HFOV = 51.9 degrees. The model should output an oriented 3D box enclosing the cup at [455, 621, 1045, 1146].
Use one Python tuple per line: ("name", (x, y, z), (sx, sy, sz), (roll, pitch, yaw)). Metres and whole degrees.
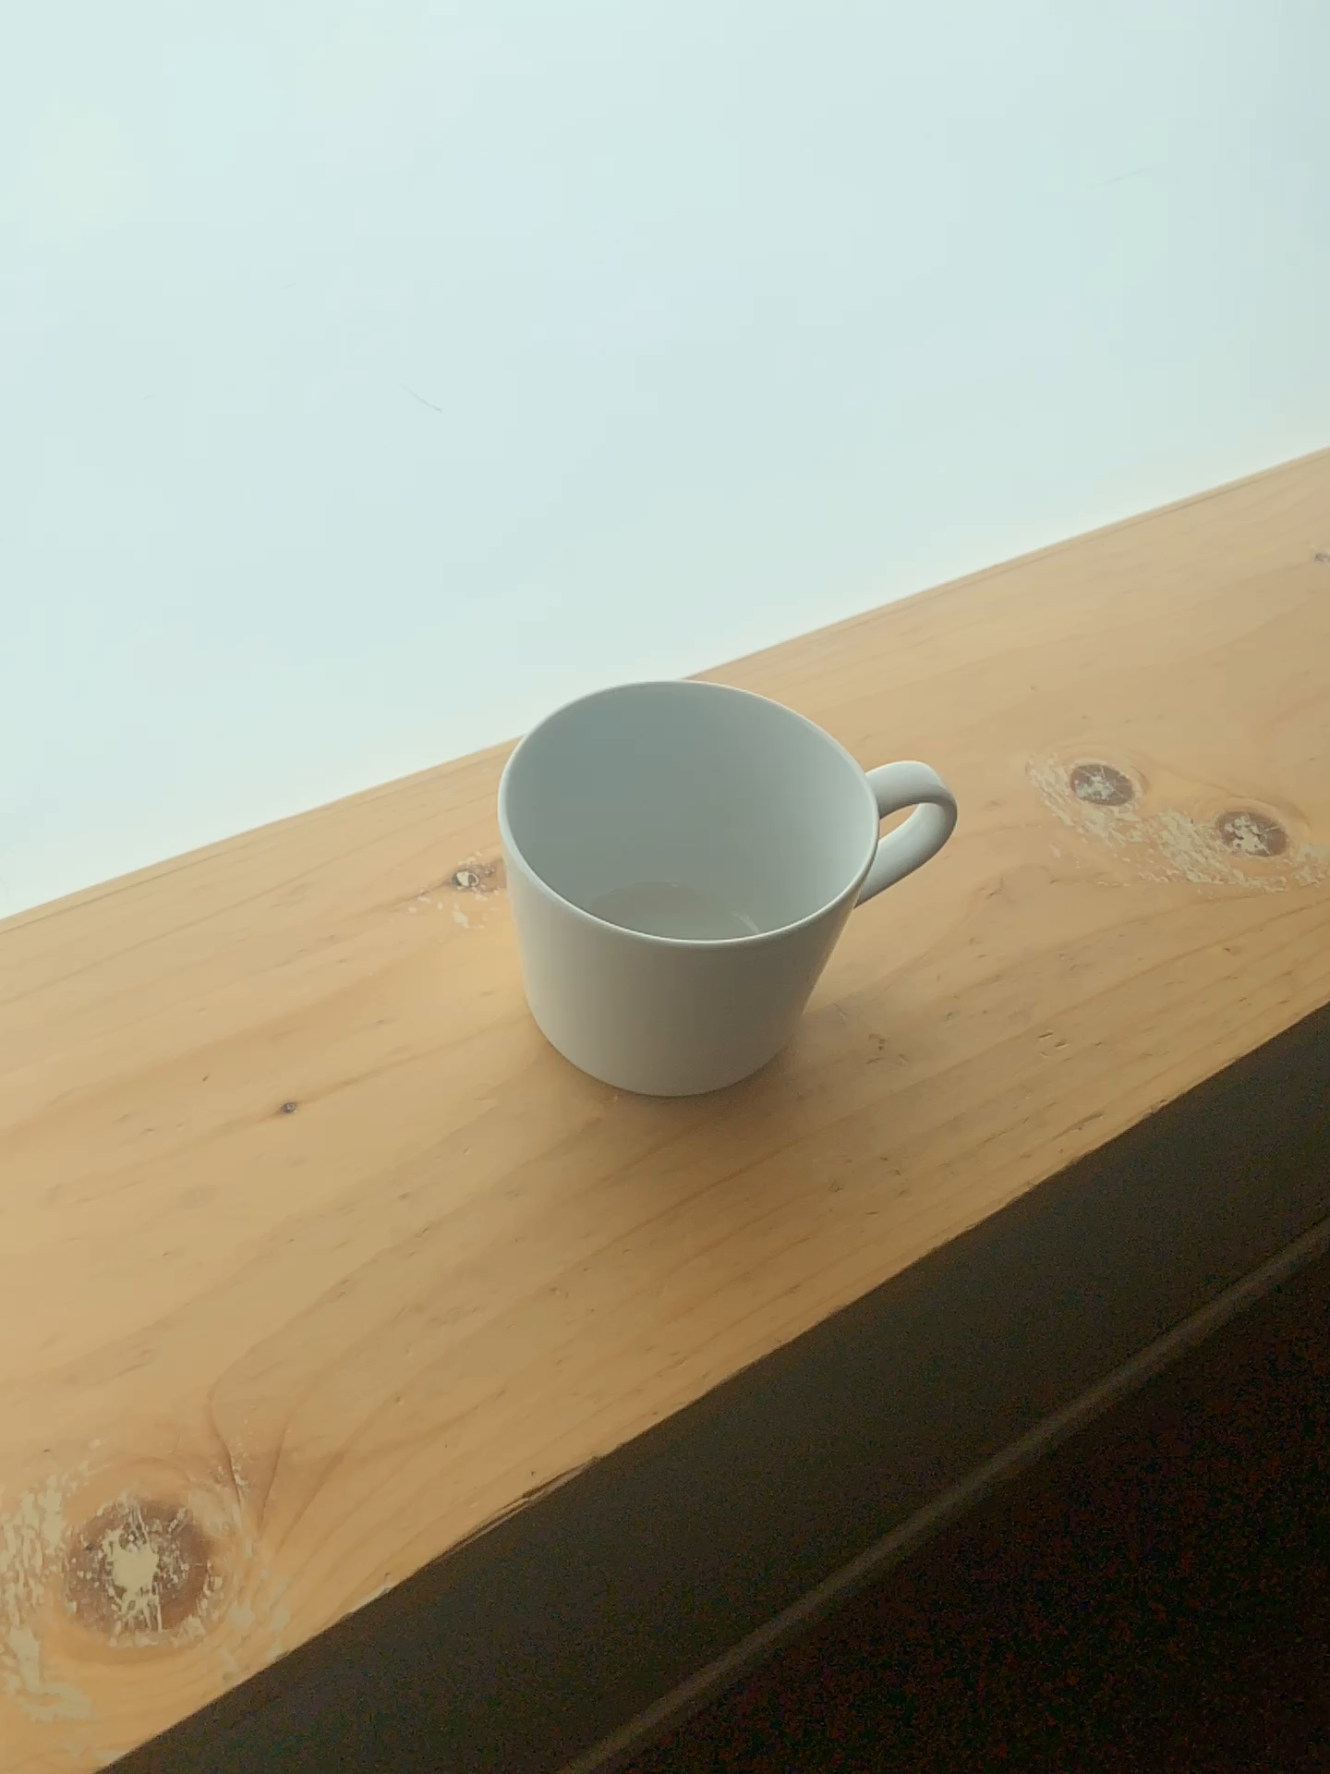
("cup", (0.018, -0.005, 0.390), (0.130, 0.080, 0.090), (-16, 52, -19))
